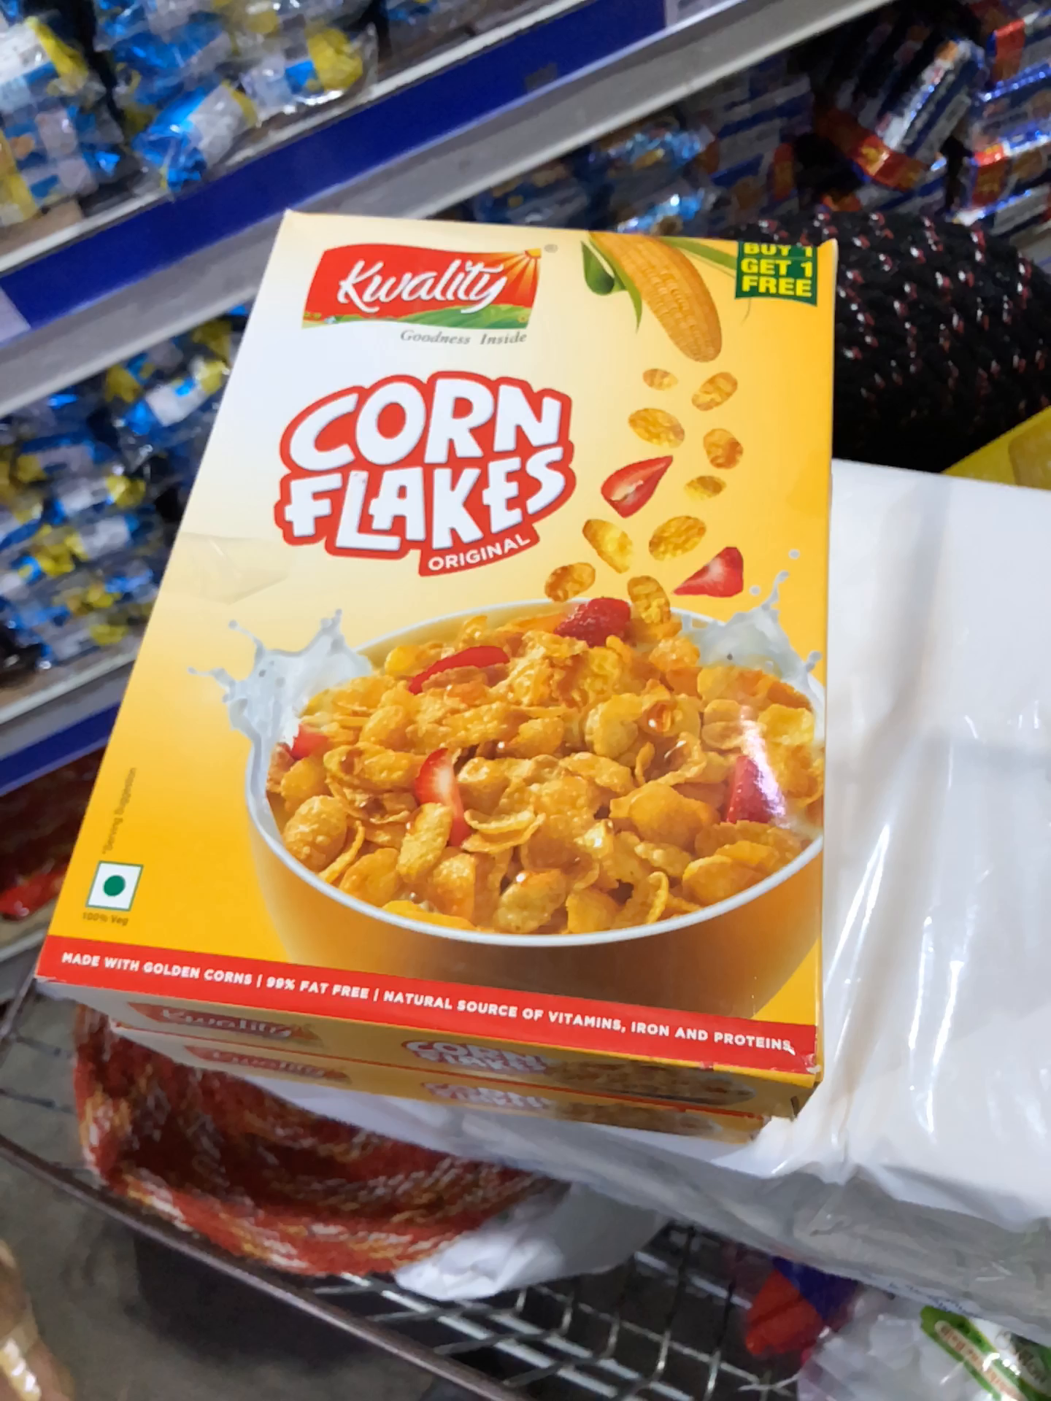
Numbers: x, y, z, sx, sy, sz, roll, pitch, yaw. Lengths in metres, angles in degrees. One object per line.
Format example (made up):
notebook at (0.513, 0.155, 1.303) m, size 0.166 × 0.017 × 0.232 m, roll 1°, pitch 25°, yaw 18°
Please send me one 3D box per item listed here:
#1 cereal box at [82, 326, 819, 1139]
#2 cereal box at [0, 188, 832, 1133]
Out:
cereal box at (-0.008, -0.002, 0.407) m, size 0.200 × 0.070 × 0.261 m, roll 5°, pitch 65°, yaw 7°
cereal box at (-0.015, -0.028, 0.338) m, size 0.190 × 0.060 × 0.261 m, roll 5°, pitch 65°, yaw 7°
